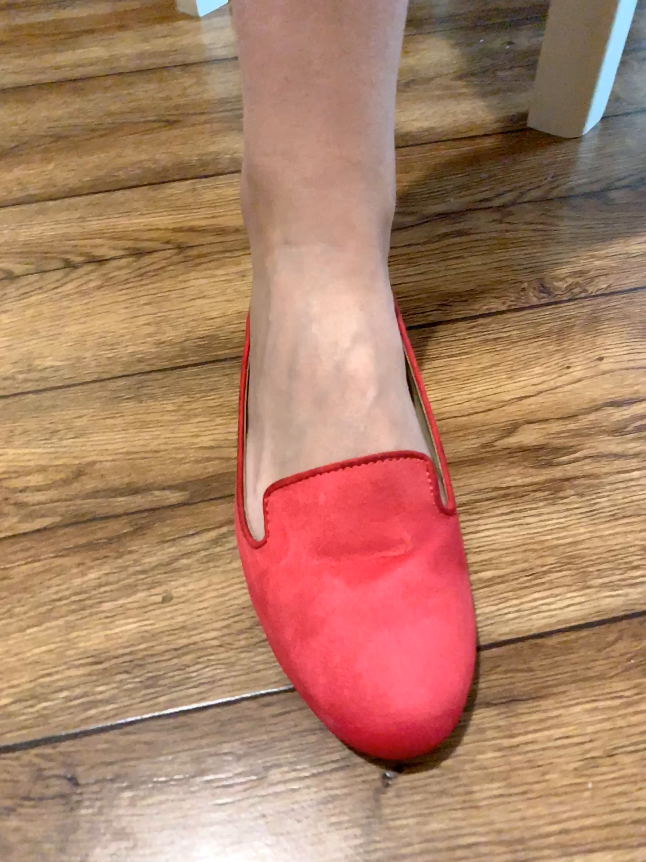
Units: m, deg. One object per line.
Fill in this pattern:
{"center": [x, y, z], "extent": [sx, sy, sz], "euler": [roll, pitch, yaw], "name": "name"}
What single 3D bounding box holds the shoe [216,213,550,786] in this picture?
{"center": [0.007, 0.008, 0.266], "extent": [0.086, 0.060, 0.221], "euler": [-7, 52, -1], "name": "shoe"}
